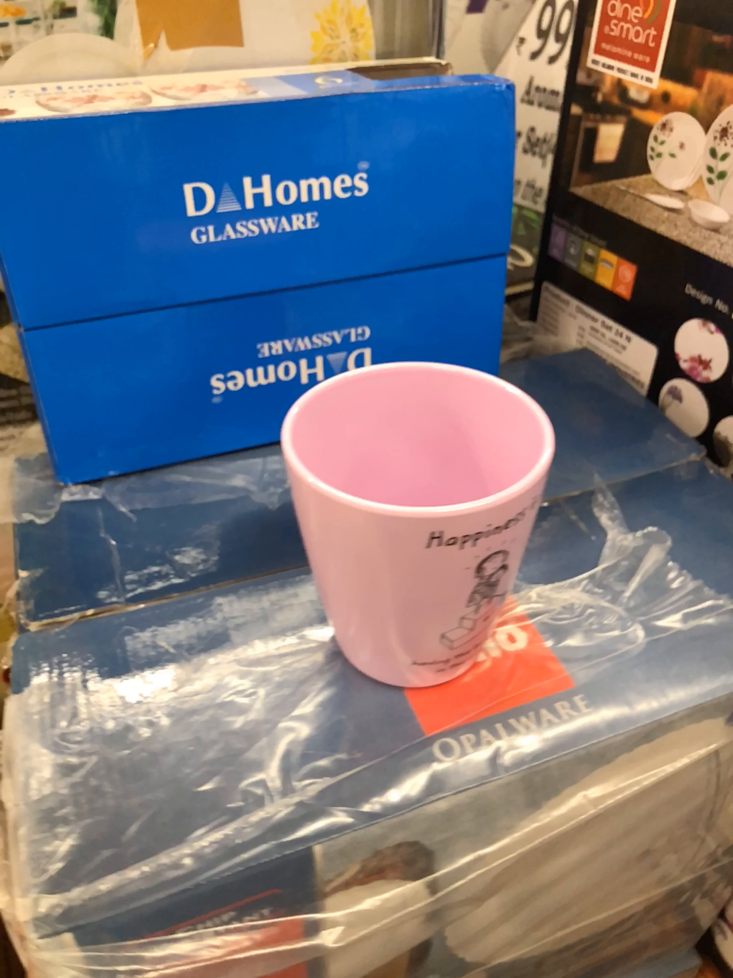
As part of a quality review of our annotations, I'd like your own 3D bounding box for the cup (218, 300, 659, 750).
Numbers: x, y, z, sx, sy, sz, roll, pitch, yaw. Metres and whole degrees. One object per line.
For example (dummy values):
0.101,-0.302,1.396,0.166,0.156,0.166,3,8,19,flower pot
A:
0.023,0.006,0.293,0.111,0.089,0.090,-27,47,-29,cup
